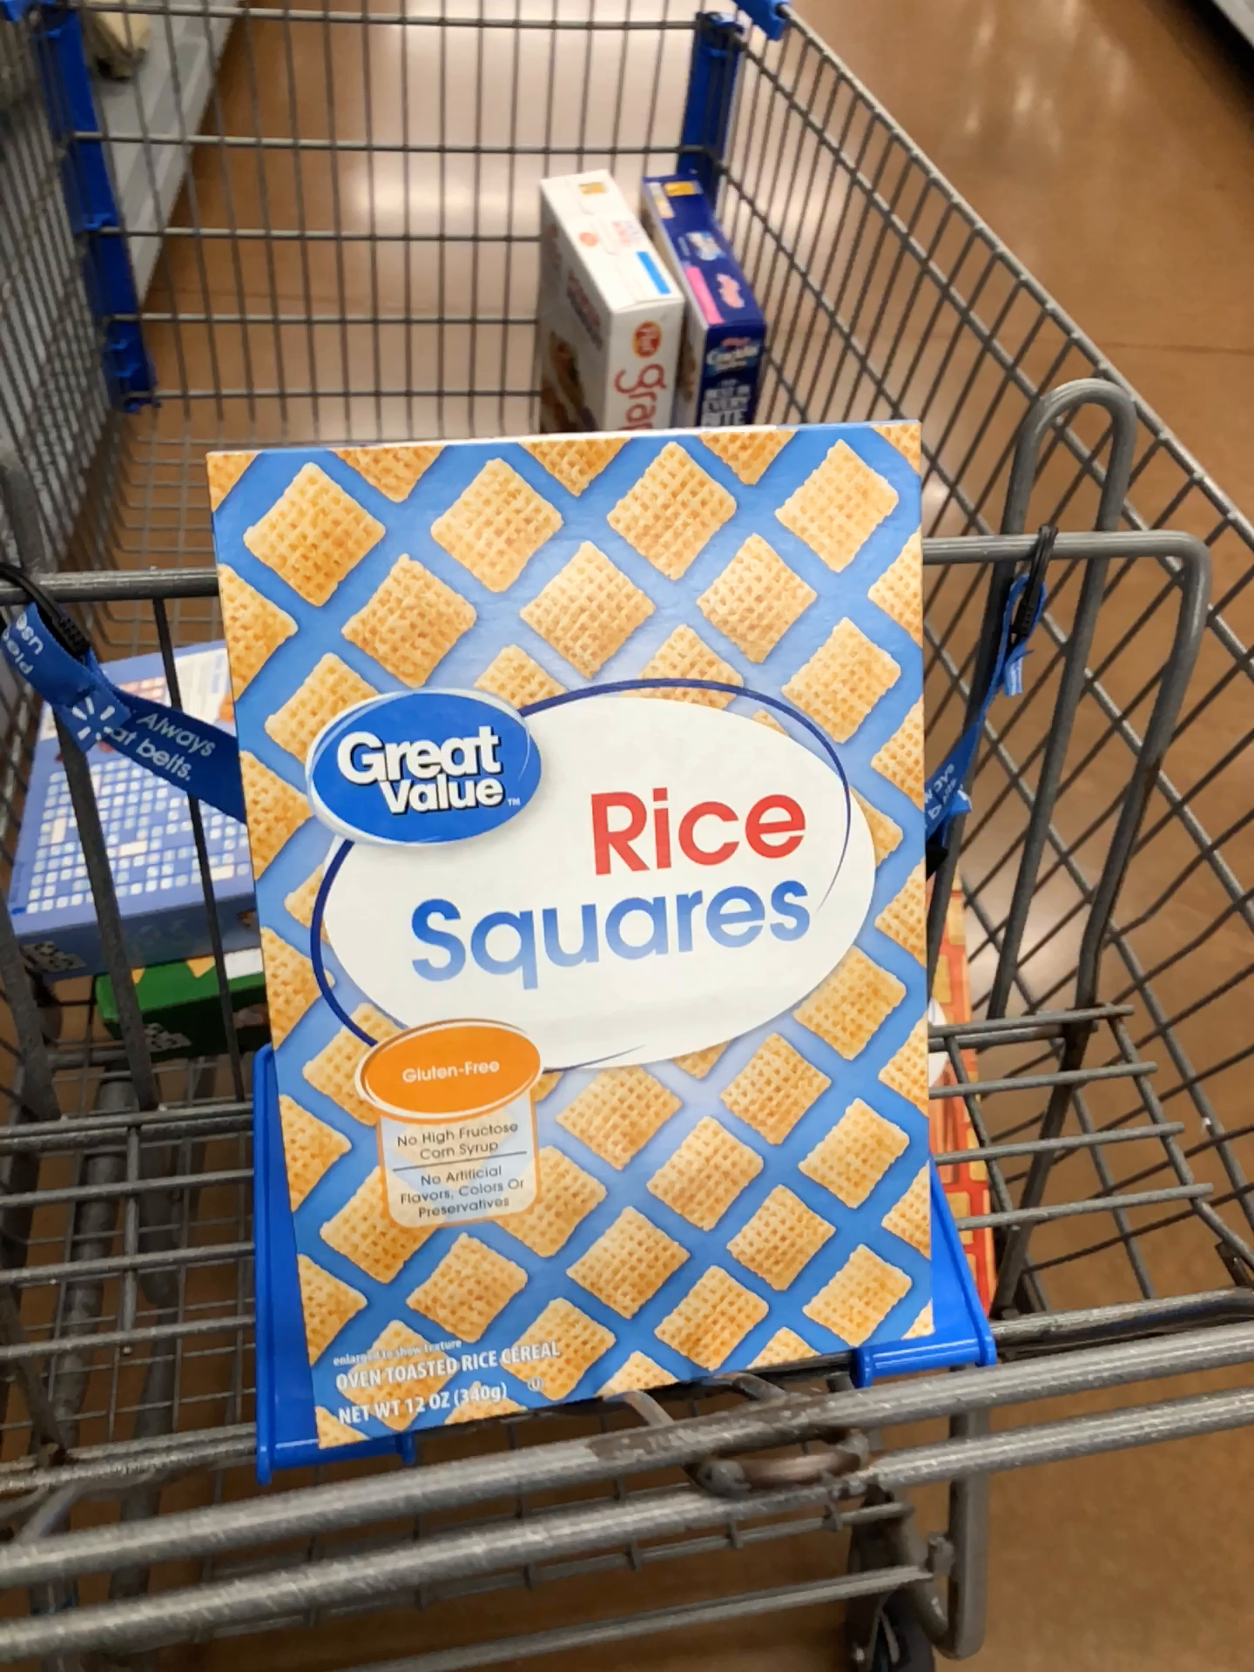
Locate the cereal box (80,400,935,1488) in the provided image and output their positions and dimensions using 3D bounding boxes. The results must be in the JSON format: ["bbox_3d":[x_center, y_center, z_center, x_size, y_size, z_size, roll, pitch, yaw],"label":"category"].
[{"bbox_3d":[-0.027,0.025,0.415,0.210,0.280,0.080,-6,11,-11],"label":"cereal box"}]
